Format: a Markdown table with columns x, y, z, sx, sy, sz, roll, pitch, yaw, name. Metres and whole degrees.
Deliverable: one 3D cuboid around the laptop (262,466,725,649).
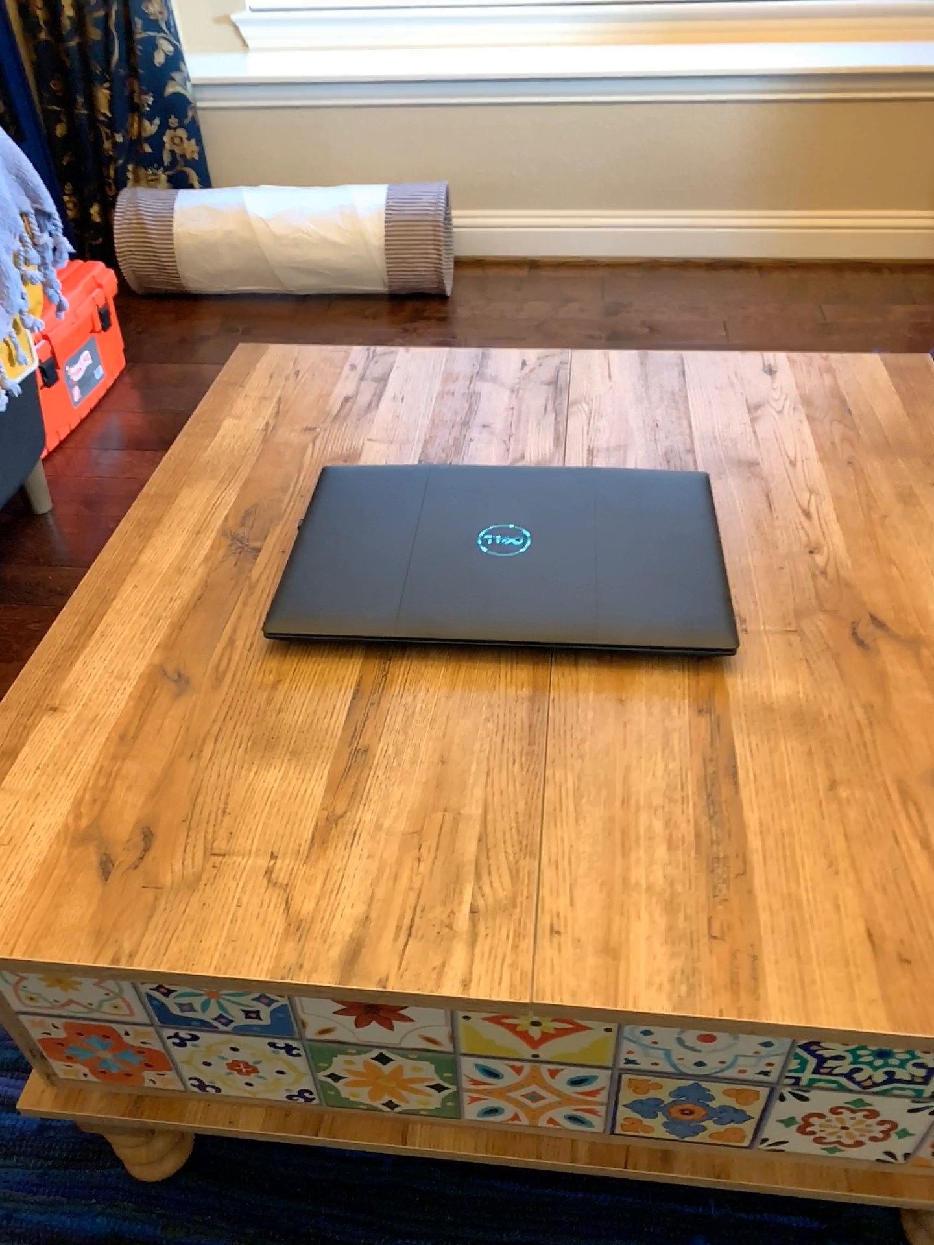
| x | y | z | sx | sy | sz | roll | pitch | yaw | name |
| --- | --- | --- | --- | --- | --- | --- | --- | --- | --- |
| 0.024 | -0.064 | 0.796 | 0.346 | 0.001 | 0.228 | 2 | 41 | 5 | laptop |
